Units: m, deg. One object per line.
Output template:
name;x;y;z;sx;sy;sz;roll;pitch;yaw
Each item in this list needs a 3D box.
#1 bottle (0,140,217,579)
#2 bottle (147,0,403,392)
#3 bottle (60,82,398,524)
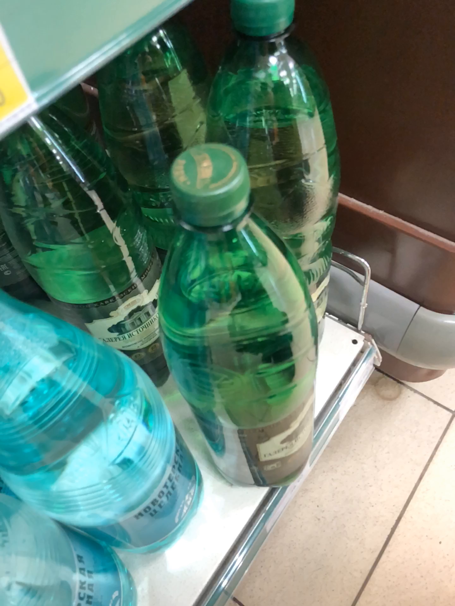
bottle;-0.077;0.077;0.288;0.076;0.326;0.084;-3;56;4
bottle;0.036;-0.059;0.369;0.082;0.326;0.091;29;64;23
bottle;0.014;0.040;0.314;0.088;0.309;0.091;-3;56;4
